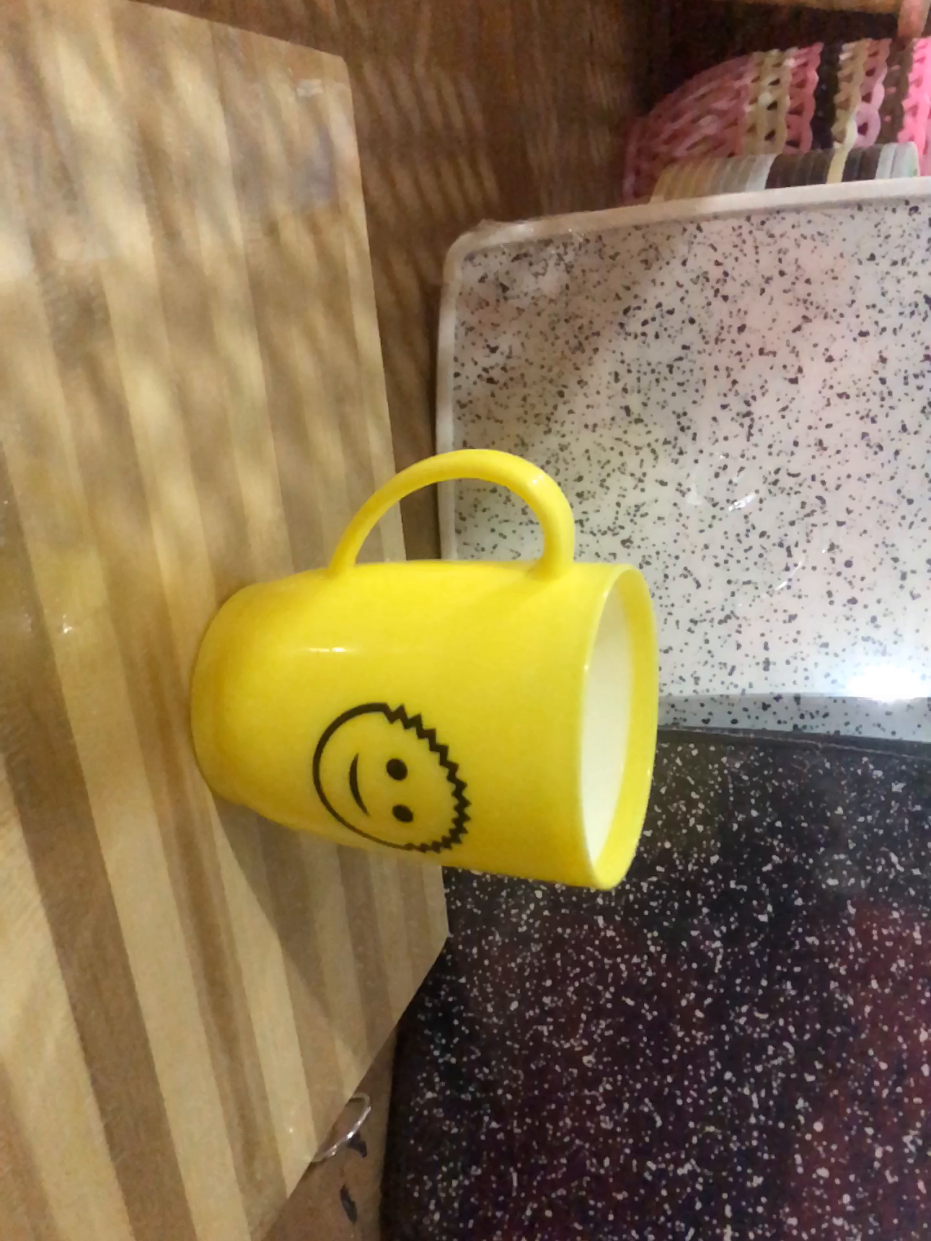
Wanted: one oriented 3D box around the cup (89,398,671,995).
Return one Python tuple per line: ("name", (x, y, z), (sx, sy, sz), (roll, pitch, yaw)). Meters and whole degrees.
("cup", (-0.011, 0.012, 0.251), (0.080, 0.099, 0.110), (-47, 135, -58))
